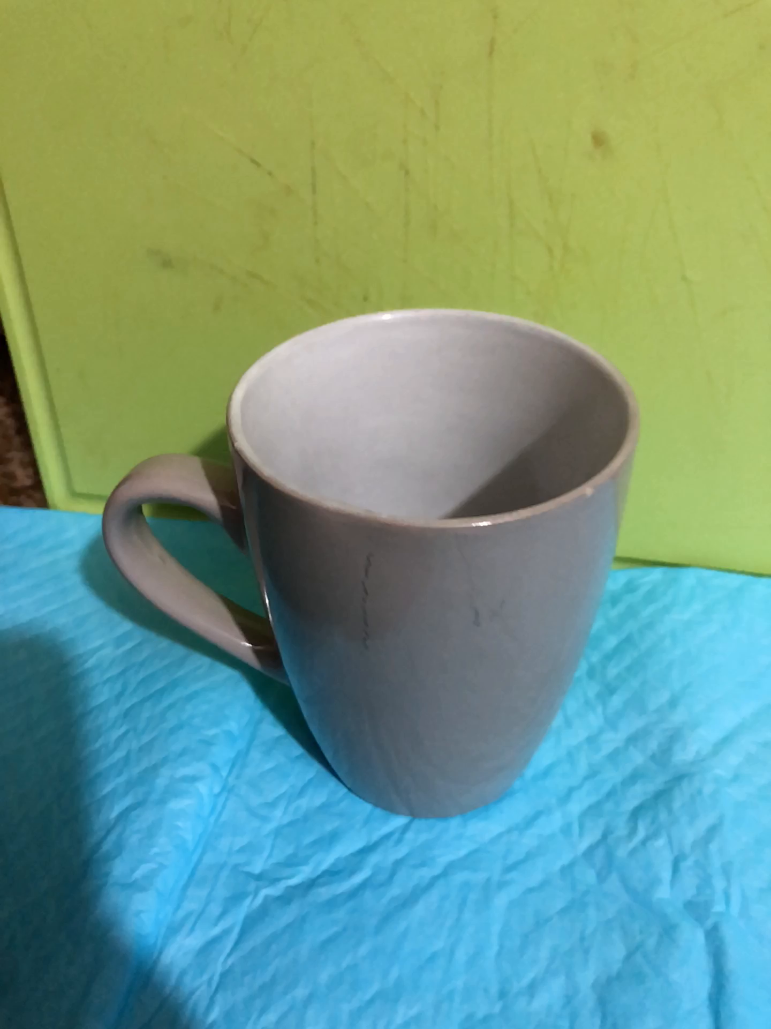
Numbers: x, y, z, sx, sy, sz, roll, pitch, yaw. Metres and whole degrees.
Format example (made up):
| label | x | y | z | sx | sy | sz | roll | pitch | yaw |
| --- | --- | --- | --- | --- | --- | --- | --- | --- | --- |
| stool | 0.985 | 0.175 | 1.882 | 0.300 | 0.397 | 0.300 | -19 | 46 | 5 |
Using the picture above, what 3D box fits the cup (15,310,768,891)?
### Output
| label | x | y | z | sx | sy | sz | roll | pitch | yaw |
| --- | --- | --- | --- | --- | --- | --- | --- | --- | --- |
| cup | 0.000 | 0.016 | 0.182 | 0.110 | 0.090 | 0.070 | -3 | 37 | -4 |
